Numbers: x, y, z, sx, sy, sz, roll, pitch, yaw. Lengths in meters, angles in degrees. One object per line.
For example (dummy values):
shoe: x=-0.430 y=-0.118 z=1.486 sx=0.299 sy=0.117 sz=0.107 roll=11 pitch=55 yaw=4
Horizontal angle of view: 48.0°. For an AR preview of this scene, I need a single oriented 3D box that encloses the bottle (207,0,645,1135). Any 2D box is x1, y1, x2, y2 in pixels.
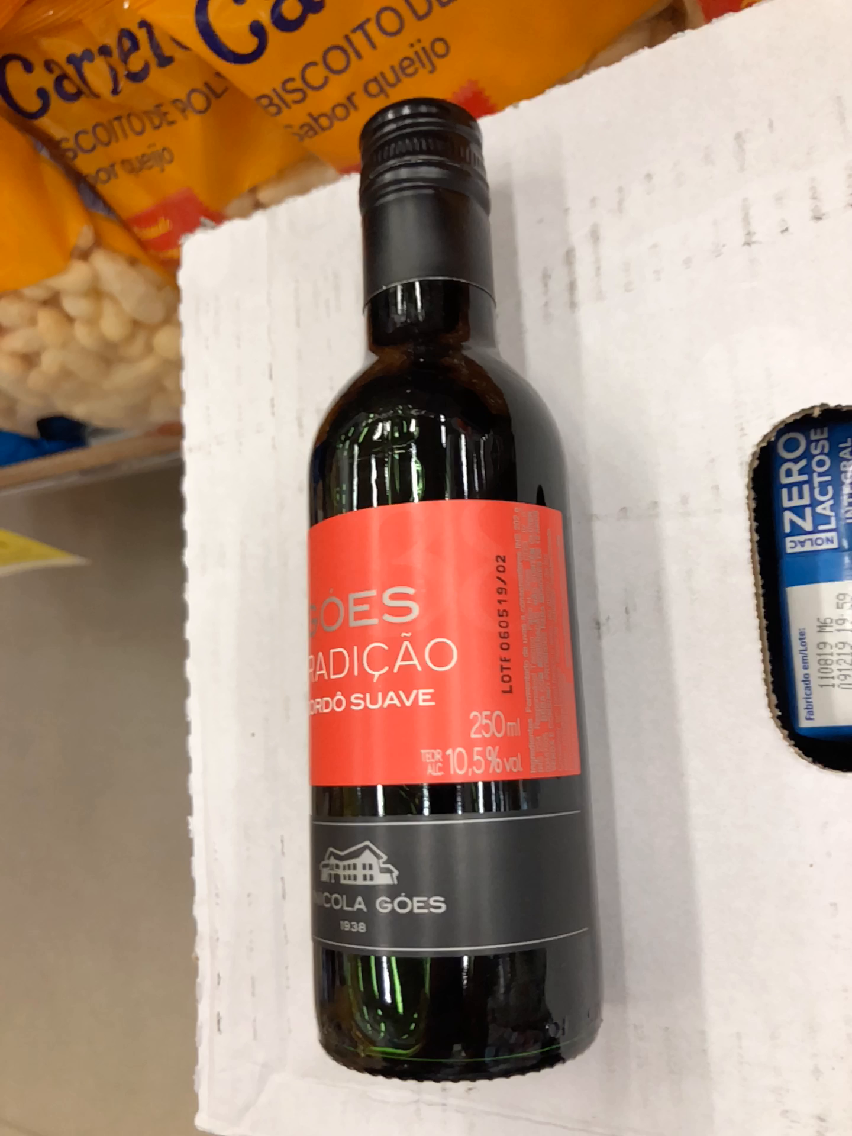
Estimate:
bottle: x=-0.001 y=-0.008 z=0.189 sx=0.060 sy=0.050 sz=0.210 roll=-8 pitch=77 yaw=33
